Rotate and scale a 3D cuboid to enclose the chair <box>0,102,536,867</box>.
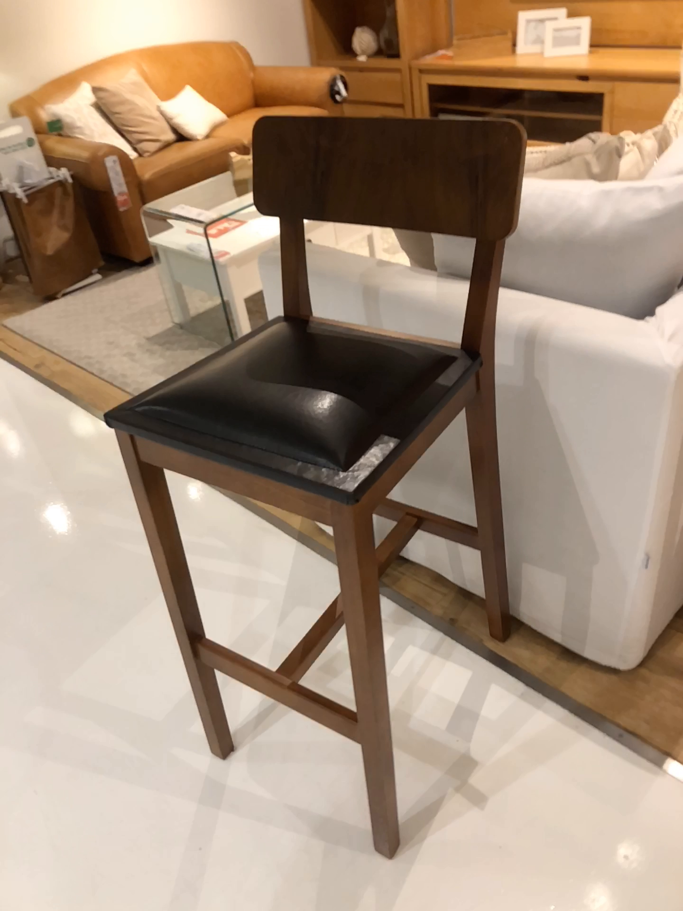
[{"bbox_3d":[-0.014,0.051,1.183,0.441,1.002,0.533,16,42,31],"label":"chair"}]
